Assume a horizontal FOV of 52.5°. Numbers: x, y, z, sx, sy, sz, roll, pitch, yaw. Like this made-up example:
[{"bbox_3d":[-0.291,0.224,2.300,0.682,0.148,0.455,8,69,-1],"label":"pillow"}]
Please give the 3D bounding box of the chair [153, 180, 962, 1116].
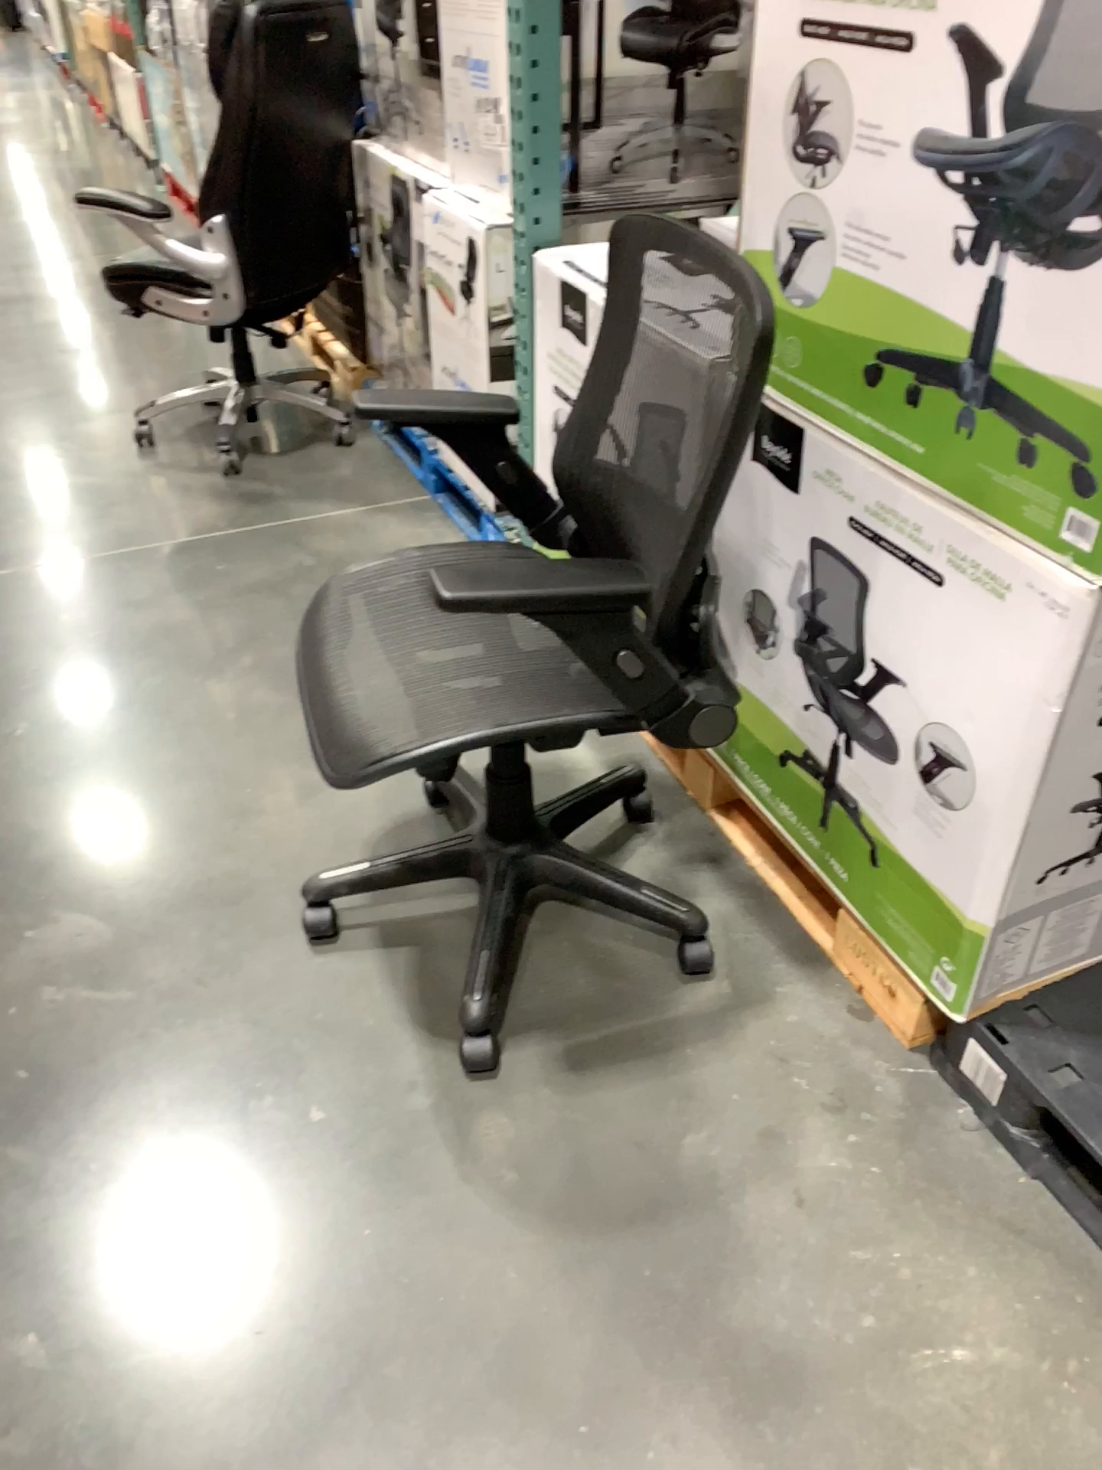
[{"bbox_3d":[-0.049,-0.141,1.537,0.735,0.987,0.679,-9,37,-11],"label":"chair"}]
